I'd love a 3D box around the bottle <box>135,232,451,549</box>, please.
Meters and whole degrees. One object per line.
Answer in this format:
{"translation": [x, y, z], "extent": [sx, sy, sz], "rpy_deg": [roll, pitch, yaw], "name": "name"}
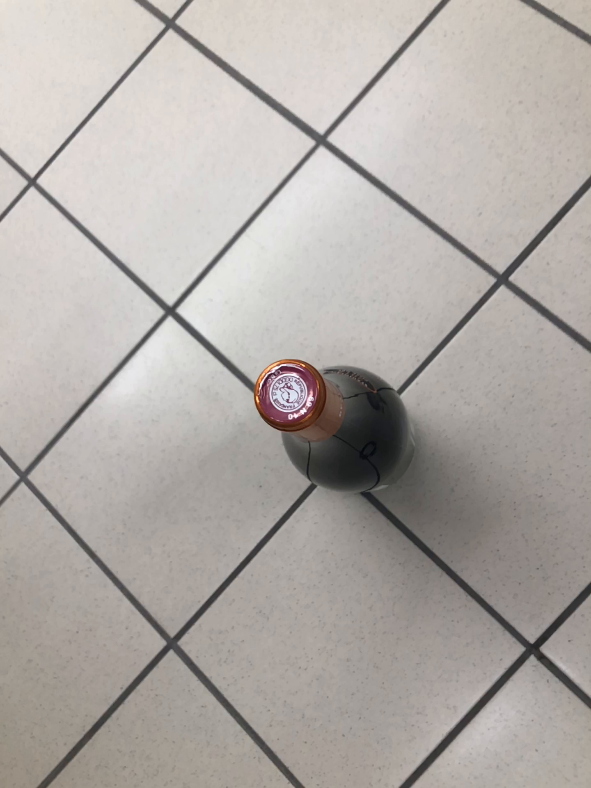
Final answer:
{"translation": [0.027, 0.018, 0.393], "extent": [0.090, 0.290, 0.090], "rpy_deg": [-2, 81, 12], "name": "bottle"}
